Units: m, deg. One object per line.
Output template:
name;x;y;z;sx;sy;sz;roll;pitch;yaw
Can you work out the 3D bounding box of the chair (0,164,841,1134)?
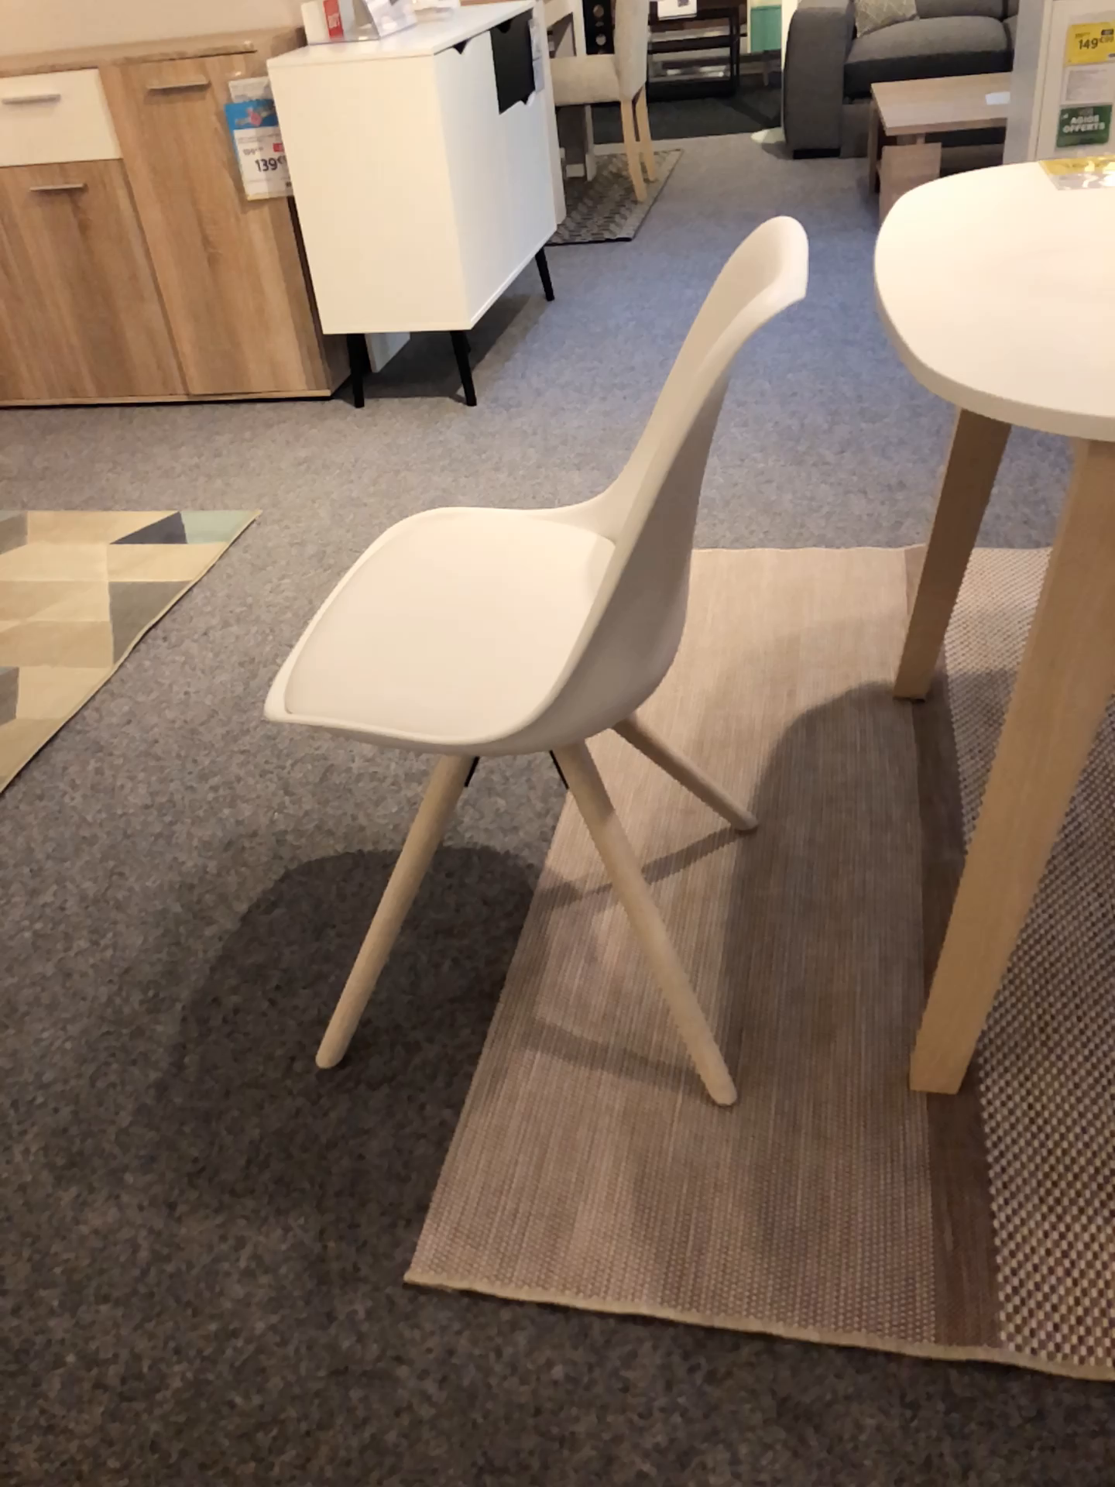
chair;-0.030;-0.105;1.236;0.589;0.756;0.554;2;35;13
